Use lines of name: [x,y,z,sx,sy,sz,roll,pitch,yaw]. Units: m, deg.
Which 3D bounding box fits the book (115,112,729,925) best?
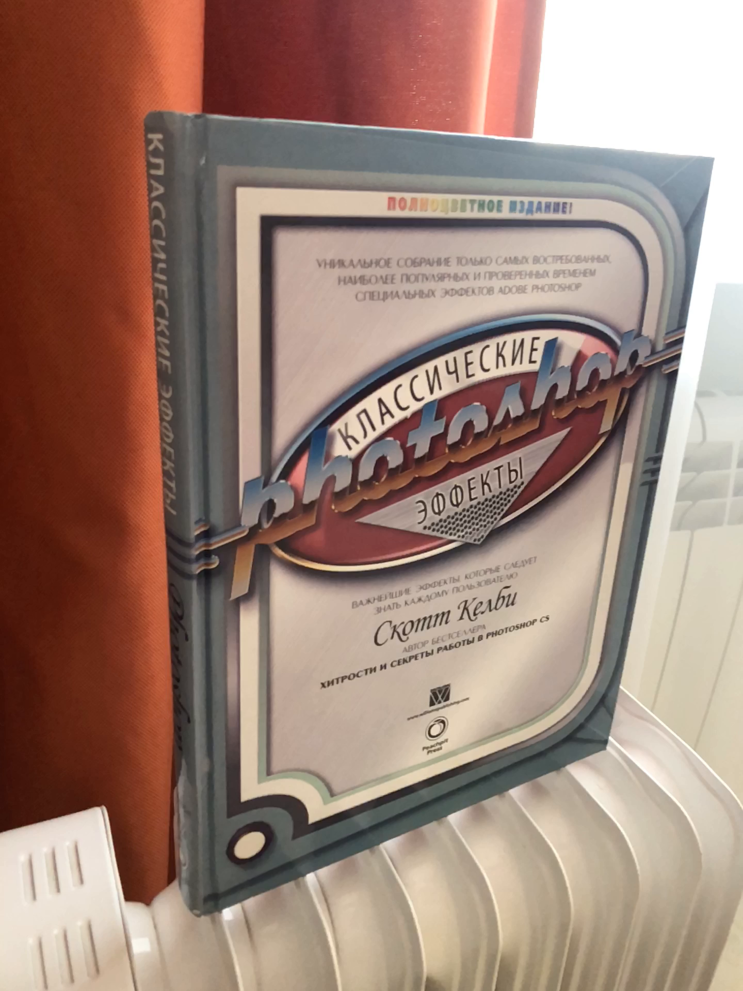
book: [0.024,0.008,0.326,0.225,0.276,0.040,-10,25,-30]
